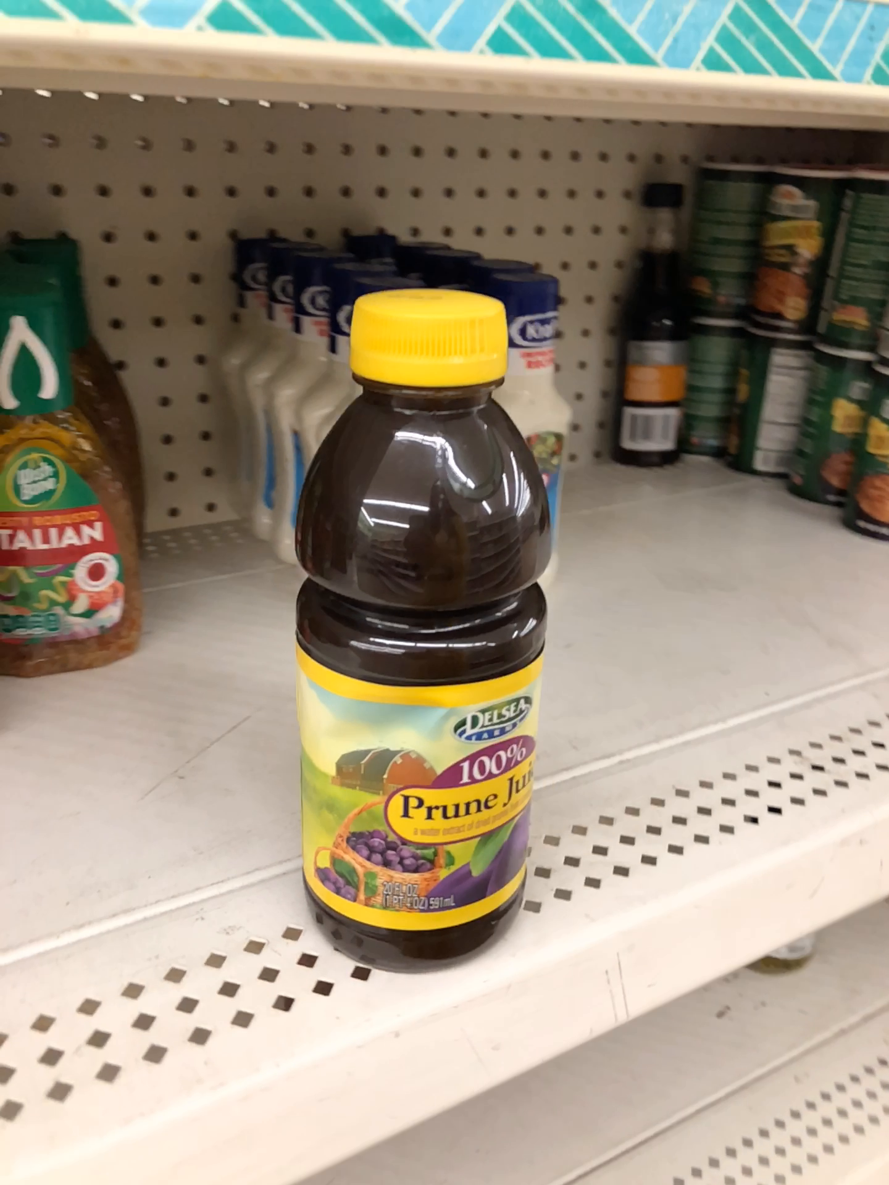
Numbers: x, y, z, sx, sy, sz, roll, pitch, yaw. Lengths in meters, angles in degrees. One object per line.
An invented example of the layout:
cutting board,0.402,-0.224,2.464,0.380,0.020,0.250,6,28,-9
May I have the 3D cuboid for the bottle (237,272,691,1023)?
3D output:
bottle,-0.001,0.011,0.278,0.080,0.181,0.080,2,25,-1
